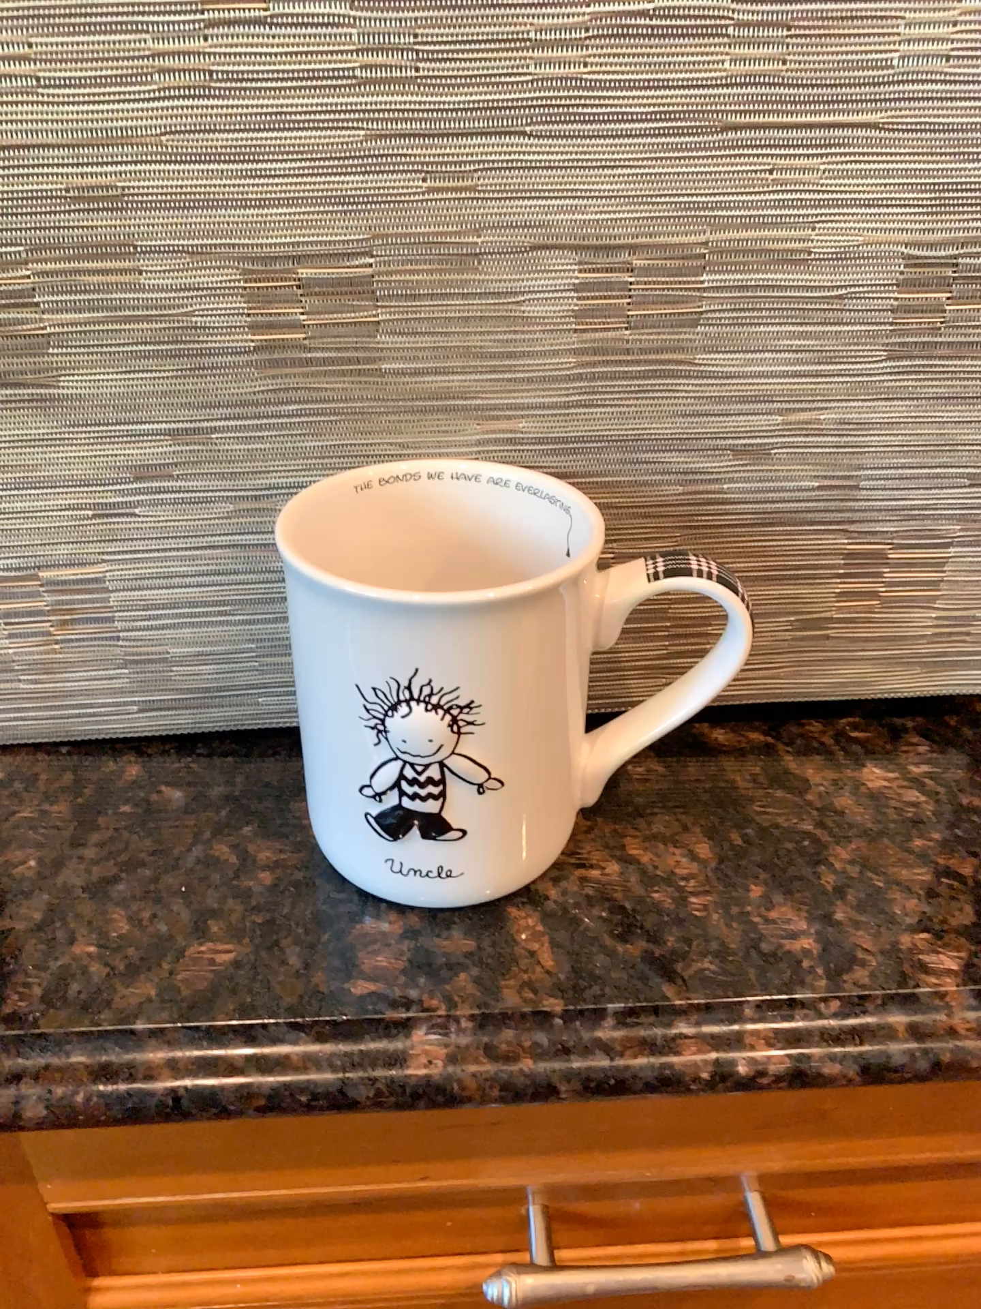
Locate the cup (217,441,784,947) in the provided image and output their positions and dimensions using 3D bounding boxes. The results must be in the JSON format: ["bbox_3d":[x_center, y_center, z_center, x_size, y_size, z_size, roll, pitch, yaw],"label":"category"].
[{"bbox_3d":[0.003,0.008,0.304,0.130,0.109,0.101,2,31,1],"label":"cup"}]
